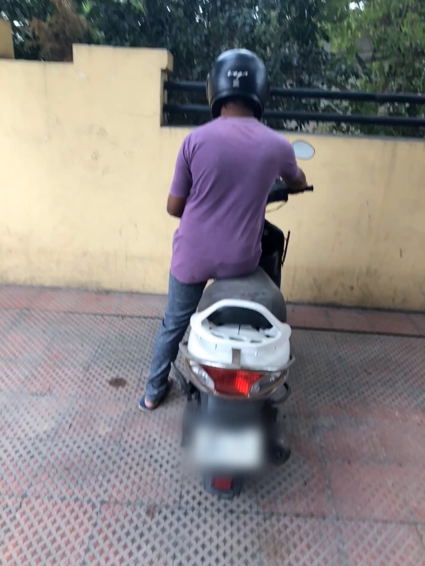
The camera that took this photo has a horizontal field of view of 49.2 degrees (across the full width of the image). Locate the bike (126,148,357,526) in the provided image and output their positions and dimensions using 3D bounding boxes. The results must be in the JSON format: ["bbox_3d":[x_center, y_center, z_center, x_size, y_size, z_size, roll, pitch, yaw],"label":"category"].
[{"bbox_3d":[0.088,0.039,2.144,0.643,0.949,1.509,4,26,2],"label":"bike"}]
